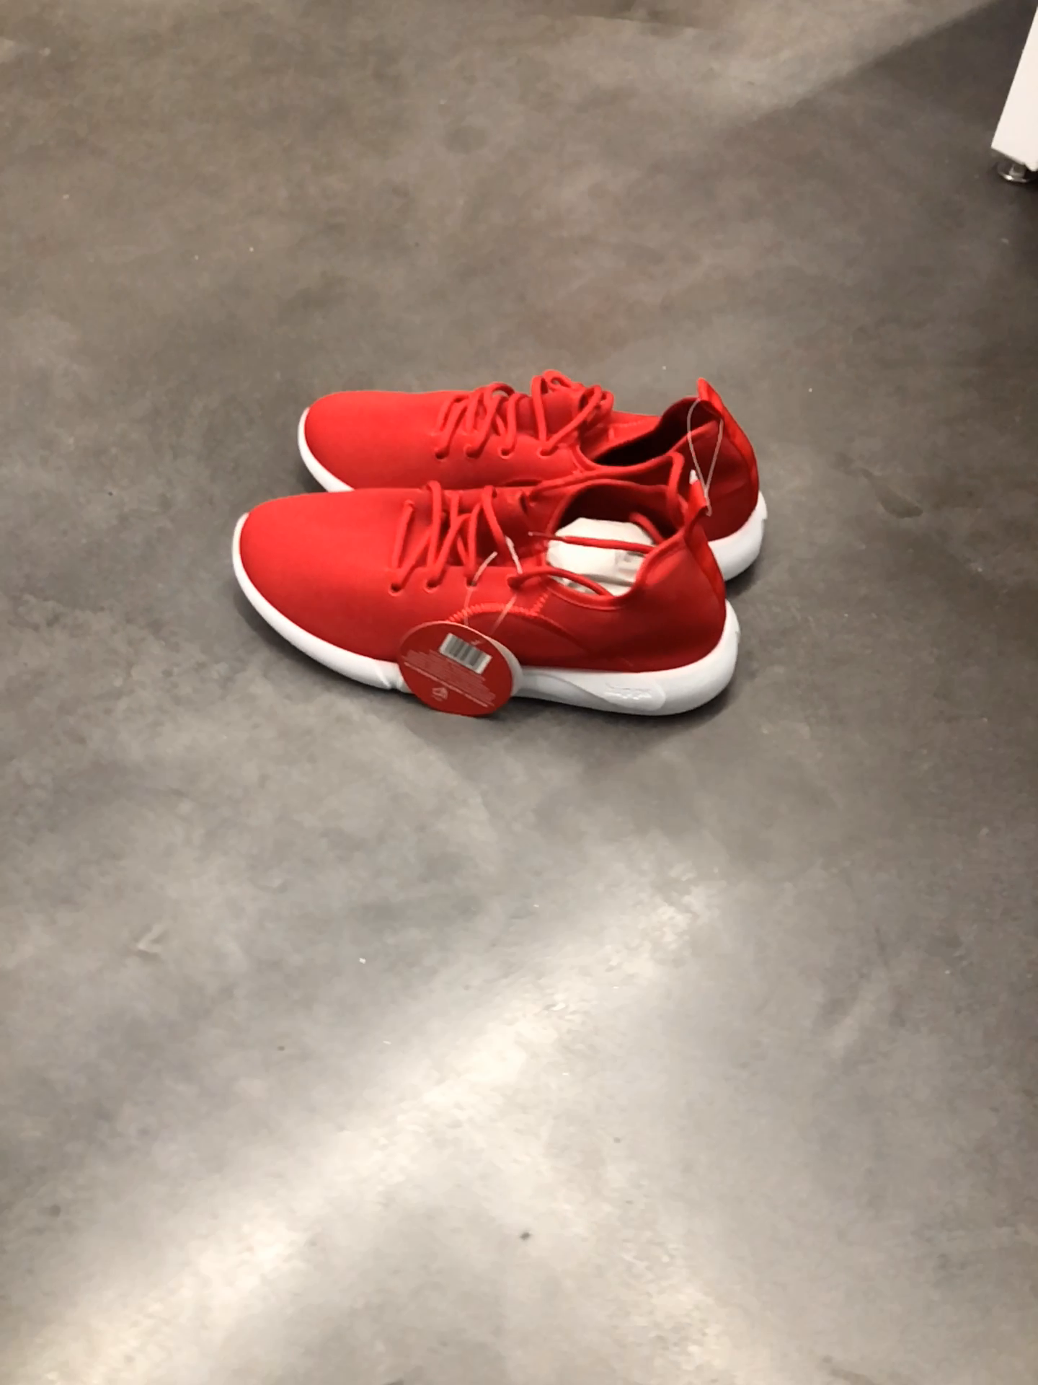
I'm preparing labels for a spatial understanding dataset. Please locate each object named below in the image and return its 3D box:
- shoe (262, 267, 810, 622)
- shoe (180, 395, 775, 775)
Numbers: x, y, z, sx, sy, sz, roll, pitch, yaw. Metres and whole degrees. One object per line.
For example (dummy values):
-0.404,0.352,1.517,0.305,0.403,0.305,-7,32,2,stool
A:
0.011,-0.130,0.599,0.250,0.100,0.100,12,56,8,shoe
-0.015,-0.053,0.554,0.250,0.100,0.100,11,56,8,shoe
